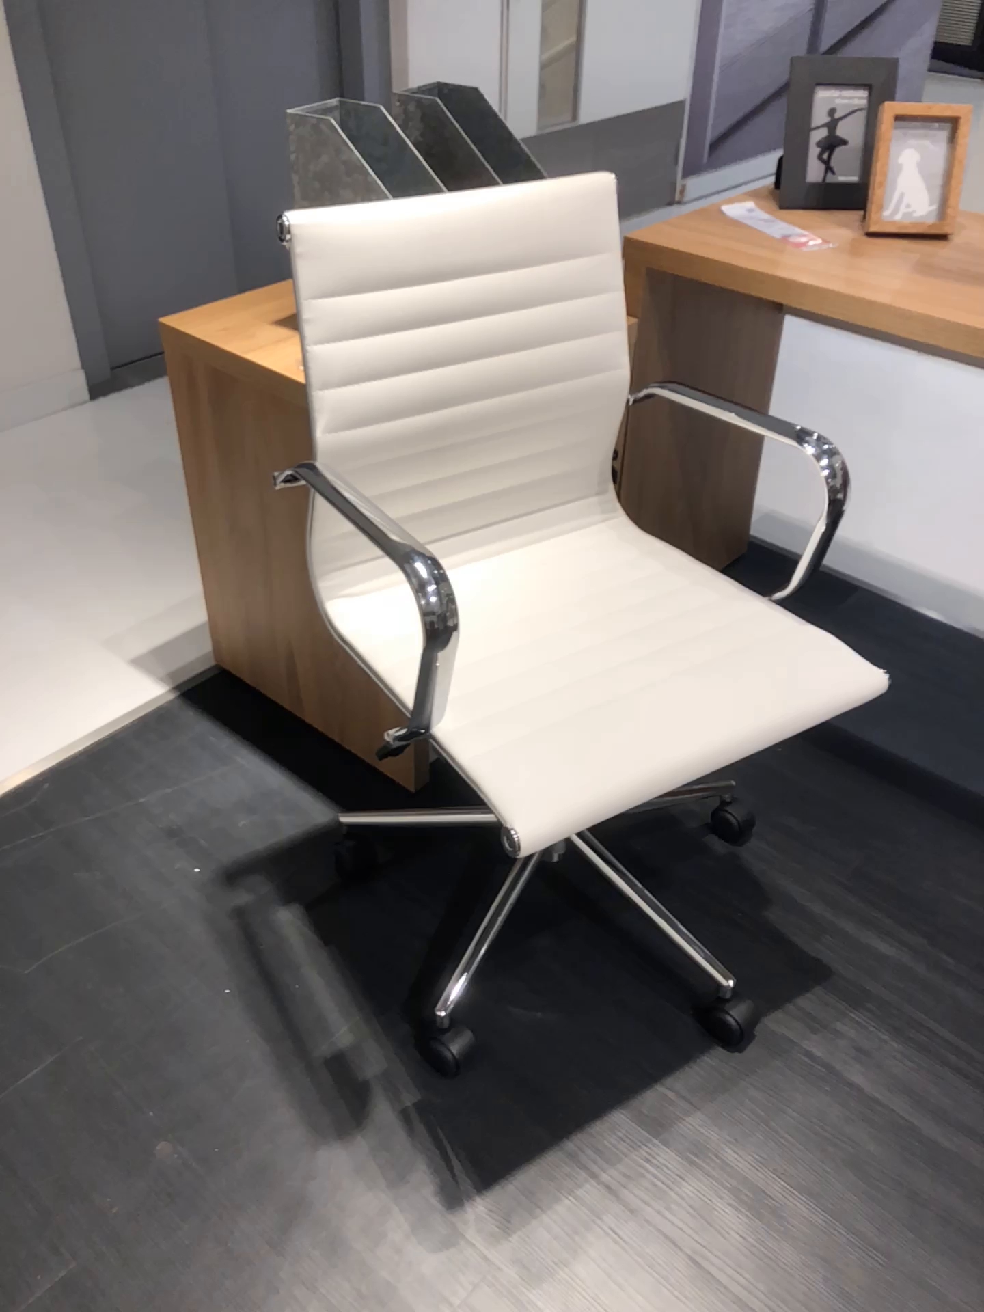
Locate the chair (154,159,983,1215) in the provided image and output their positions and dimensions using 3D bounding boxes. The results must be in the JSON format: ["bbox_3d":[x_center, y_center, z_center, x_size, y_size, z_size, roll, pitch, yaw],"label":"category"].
[{"bbox_3d":[0.073,-0.017,1.396,0.652,0.953,0.764,-18,40,-24],"label":"chair"}]
